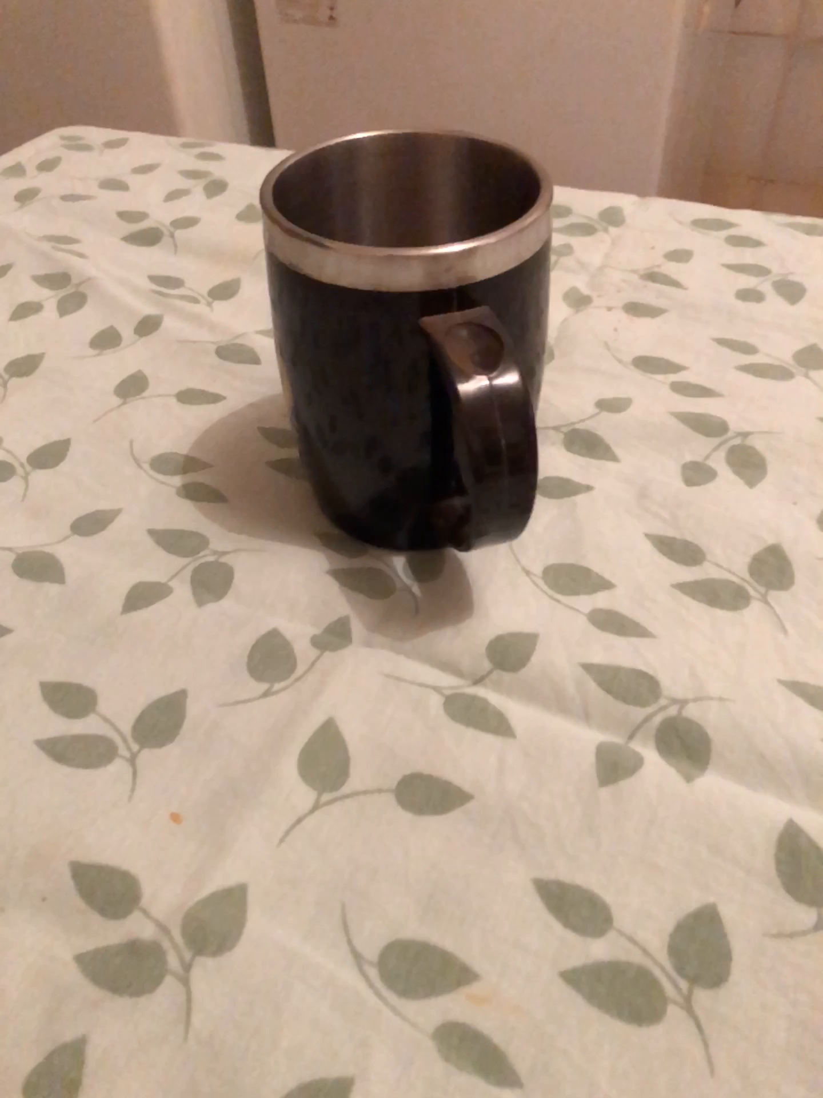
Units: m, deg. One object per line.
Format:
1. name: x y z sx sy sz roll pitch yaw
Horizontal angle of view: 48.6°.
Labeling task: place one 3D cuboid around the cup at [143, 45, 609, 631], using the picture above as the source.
1. cup: -0.016 -0.072 0.295 0.090 0.119 0.131 -17 47 -14
